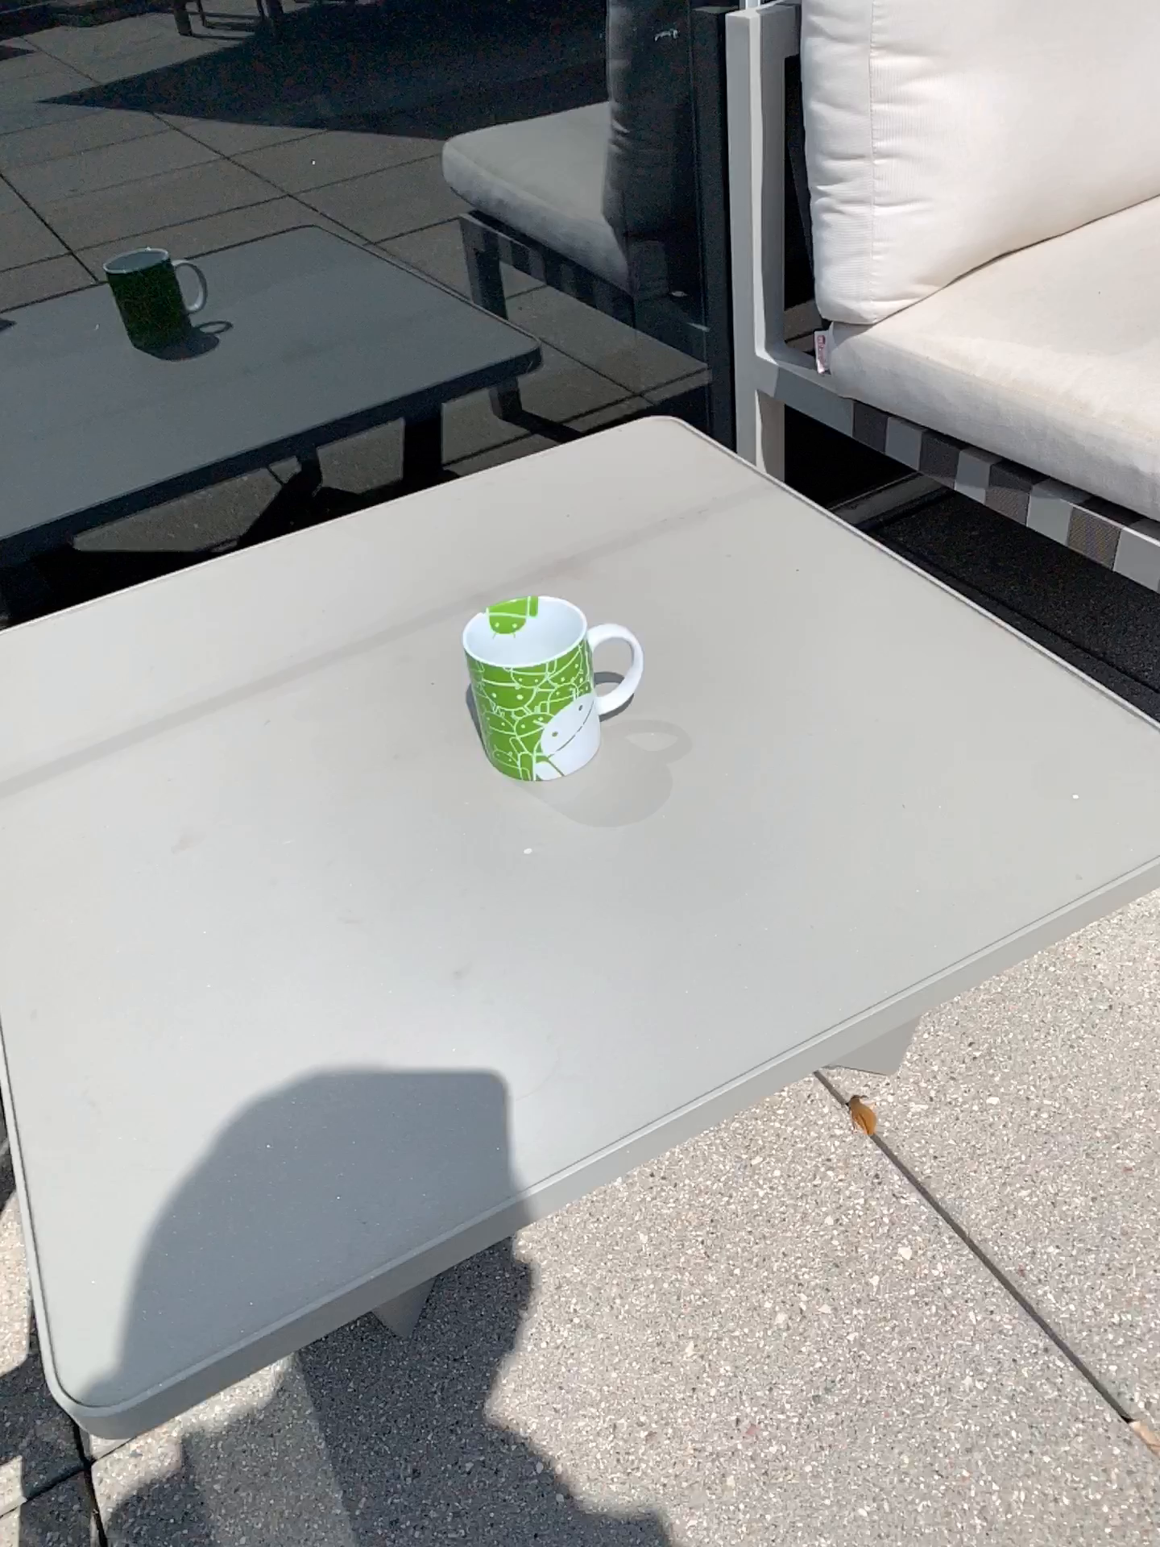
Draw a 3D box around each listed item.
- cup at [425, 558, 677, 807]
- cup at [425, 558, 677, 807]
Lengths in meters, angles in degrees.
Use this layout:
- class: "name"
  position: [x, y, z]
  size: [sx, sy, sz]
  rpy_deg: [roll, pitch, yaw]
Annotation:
- class: "cup"
  position: [-0.016, -0.061, 0.766]
  size: [0.130, 0.090, 0.080]
  rpy_deg: [-28, 44, -21]
- class: "cup"
  position: [-0.016, -0.061, 0.766]
  size: [0.130, 0.090, 0.080]
  rpy_deg: [-28, 44, -21]
